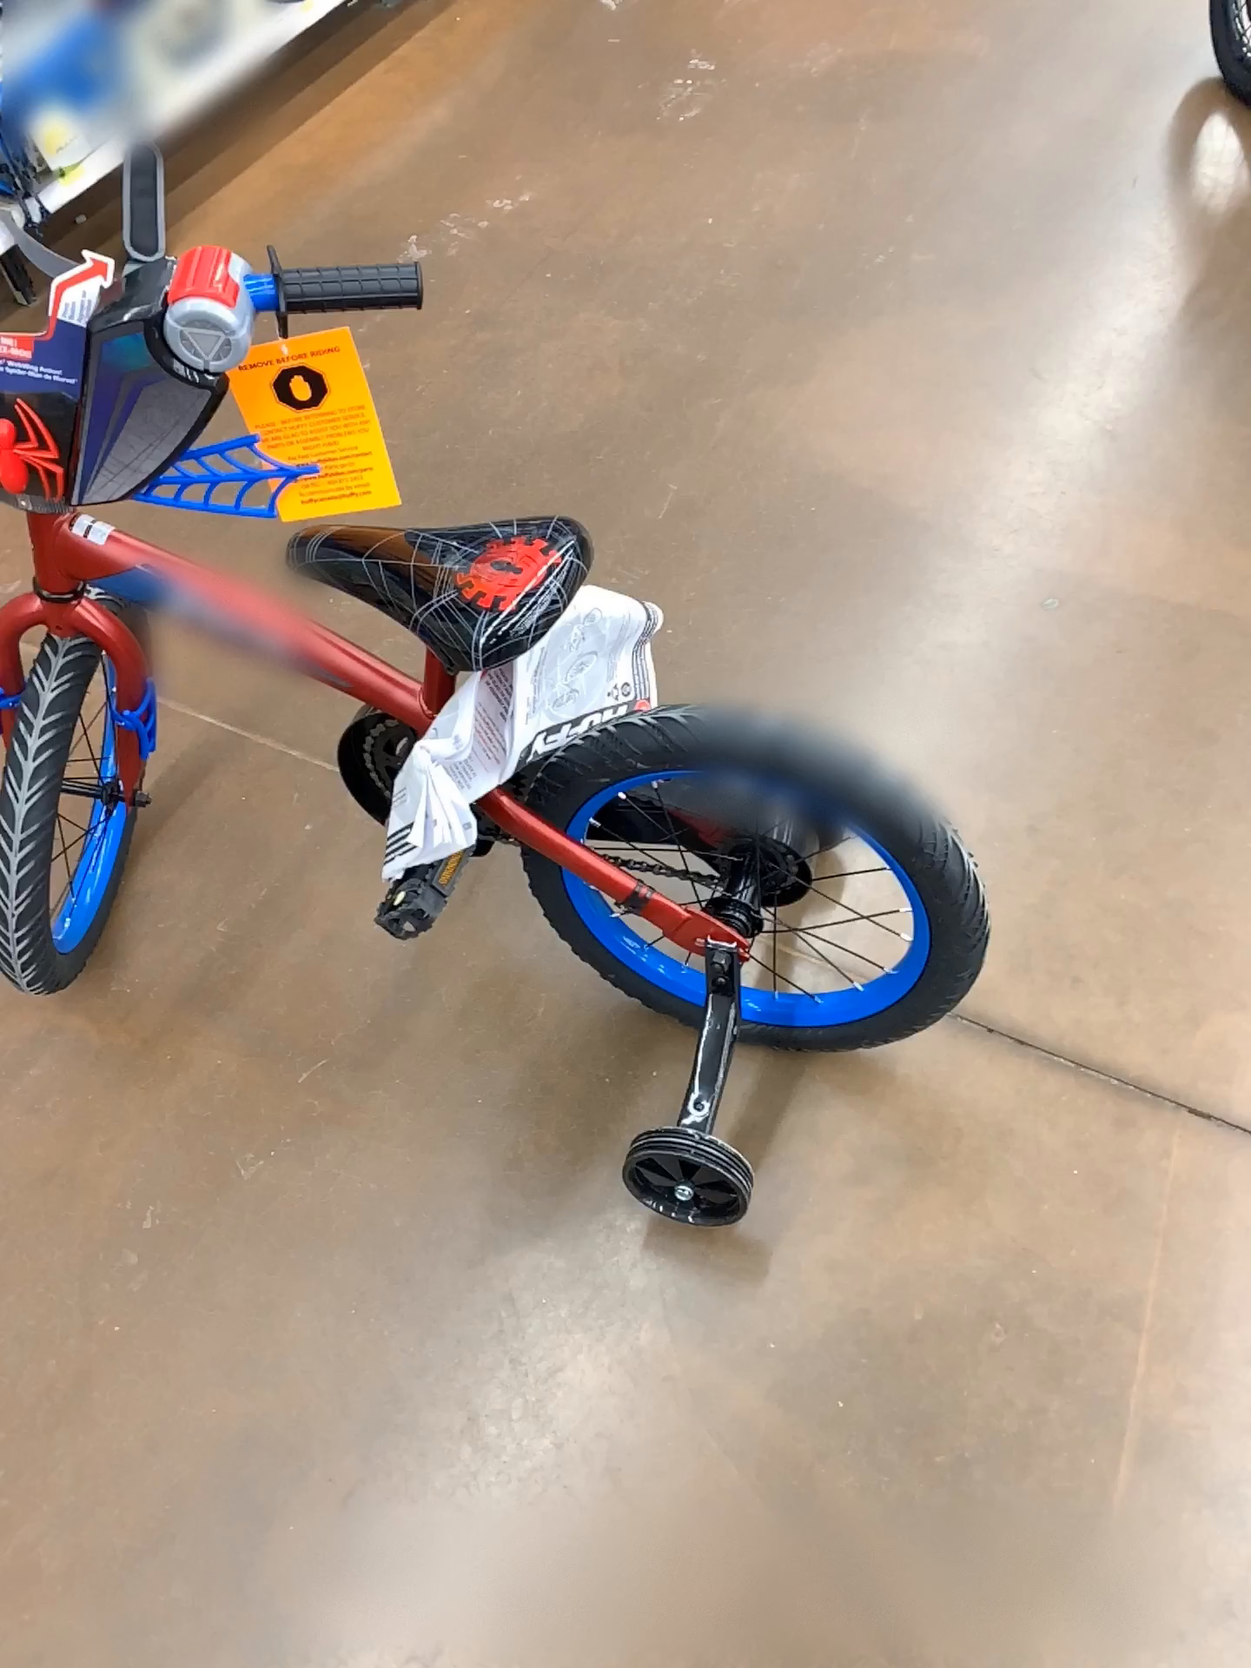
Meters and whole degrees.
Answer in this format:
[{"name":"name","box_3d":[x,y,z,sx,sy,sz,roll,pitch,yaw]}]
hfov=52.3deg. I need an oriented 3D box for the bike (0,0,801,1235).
[{"name":"bike","box_3d":[-0.225,-0.106,0.806,0.565,0.709,0.477,2,53,11]}]
